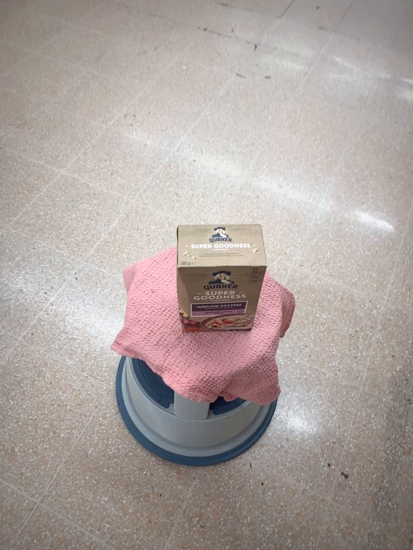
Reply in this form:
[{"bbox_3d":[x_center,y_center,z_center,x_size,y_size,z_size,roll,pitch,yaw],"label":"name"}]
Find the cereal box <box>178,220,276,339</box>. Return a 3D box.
[{"bbox_3d":[0.024,0.016,0.675,0.130,0.209,0.091,-2,57,-3],"label":"cereal box"}]
